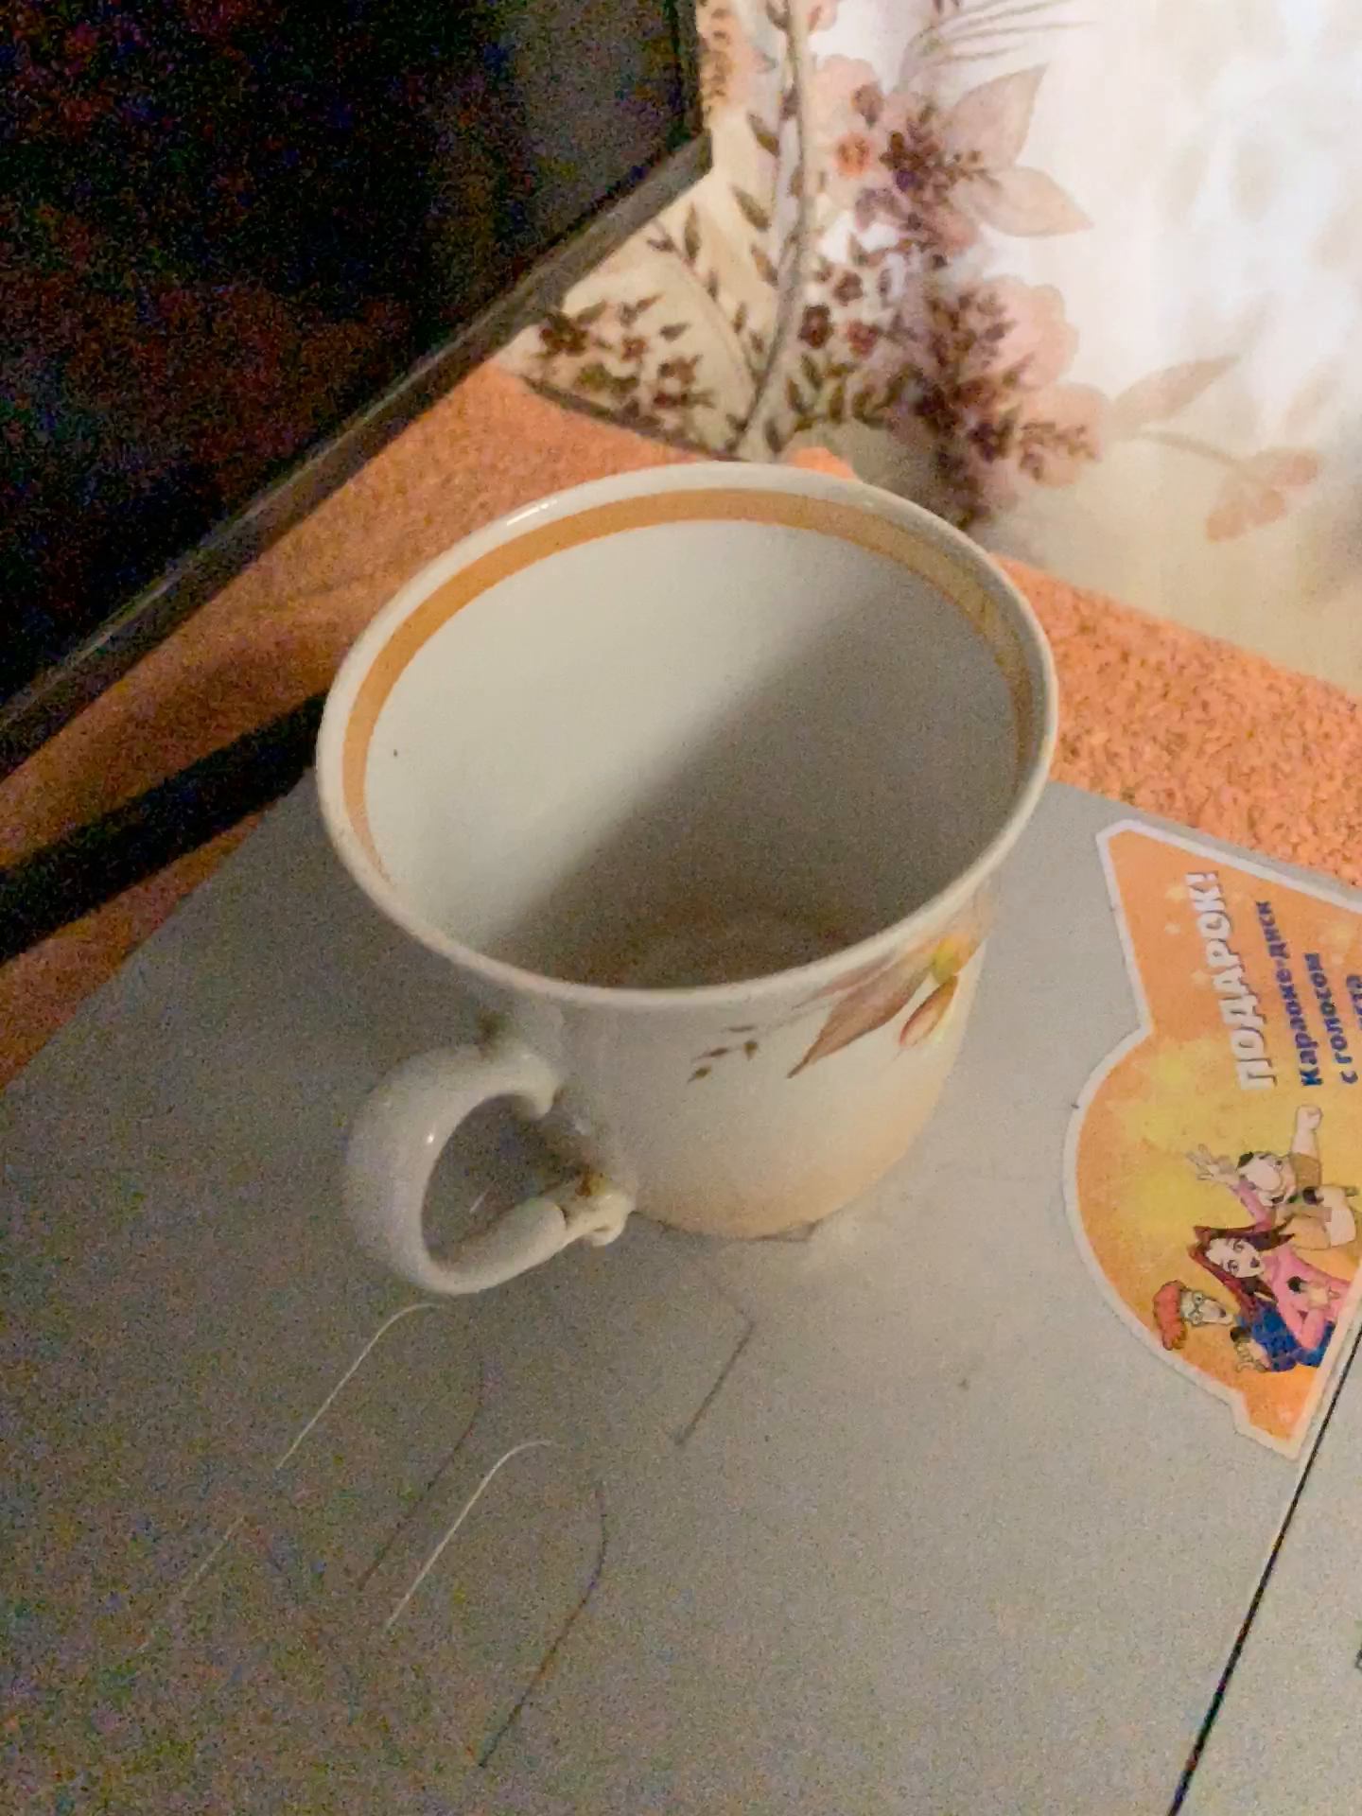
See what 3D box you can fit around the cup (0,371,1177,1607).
[{"bbox_3d":[-0.006,0.005,0.197,0.100,0.091,0.113,21,57,23],"label":"cup"}]
